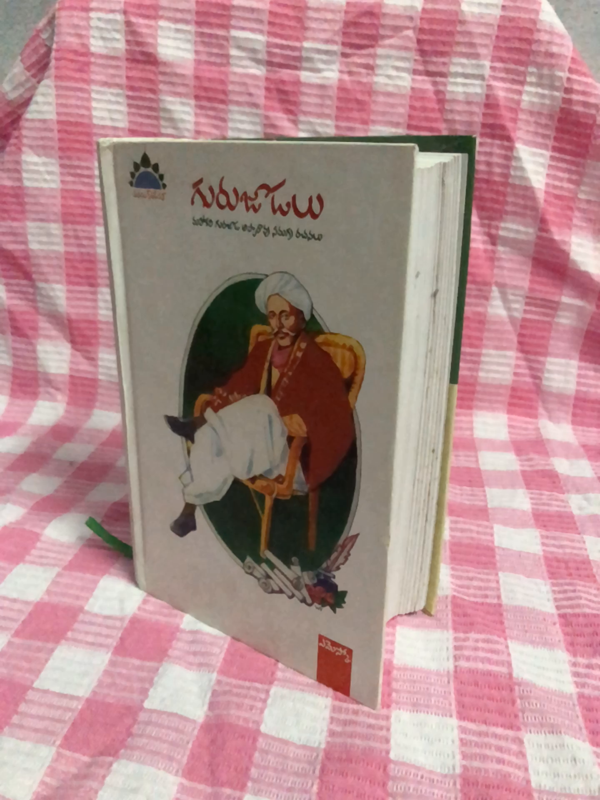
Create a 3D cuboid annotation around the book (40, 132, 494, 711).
[{"bbox_3d":[-0.017,-0.002,0.291,0.160,0.209,0.070,15,27,31],"label":"book"}]
